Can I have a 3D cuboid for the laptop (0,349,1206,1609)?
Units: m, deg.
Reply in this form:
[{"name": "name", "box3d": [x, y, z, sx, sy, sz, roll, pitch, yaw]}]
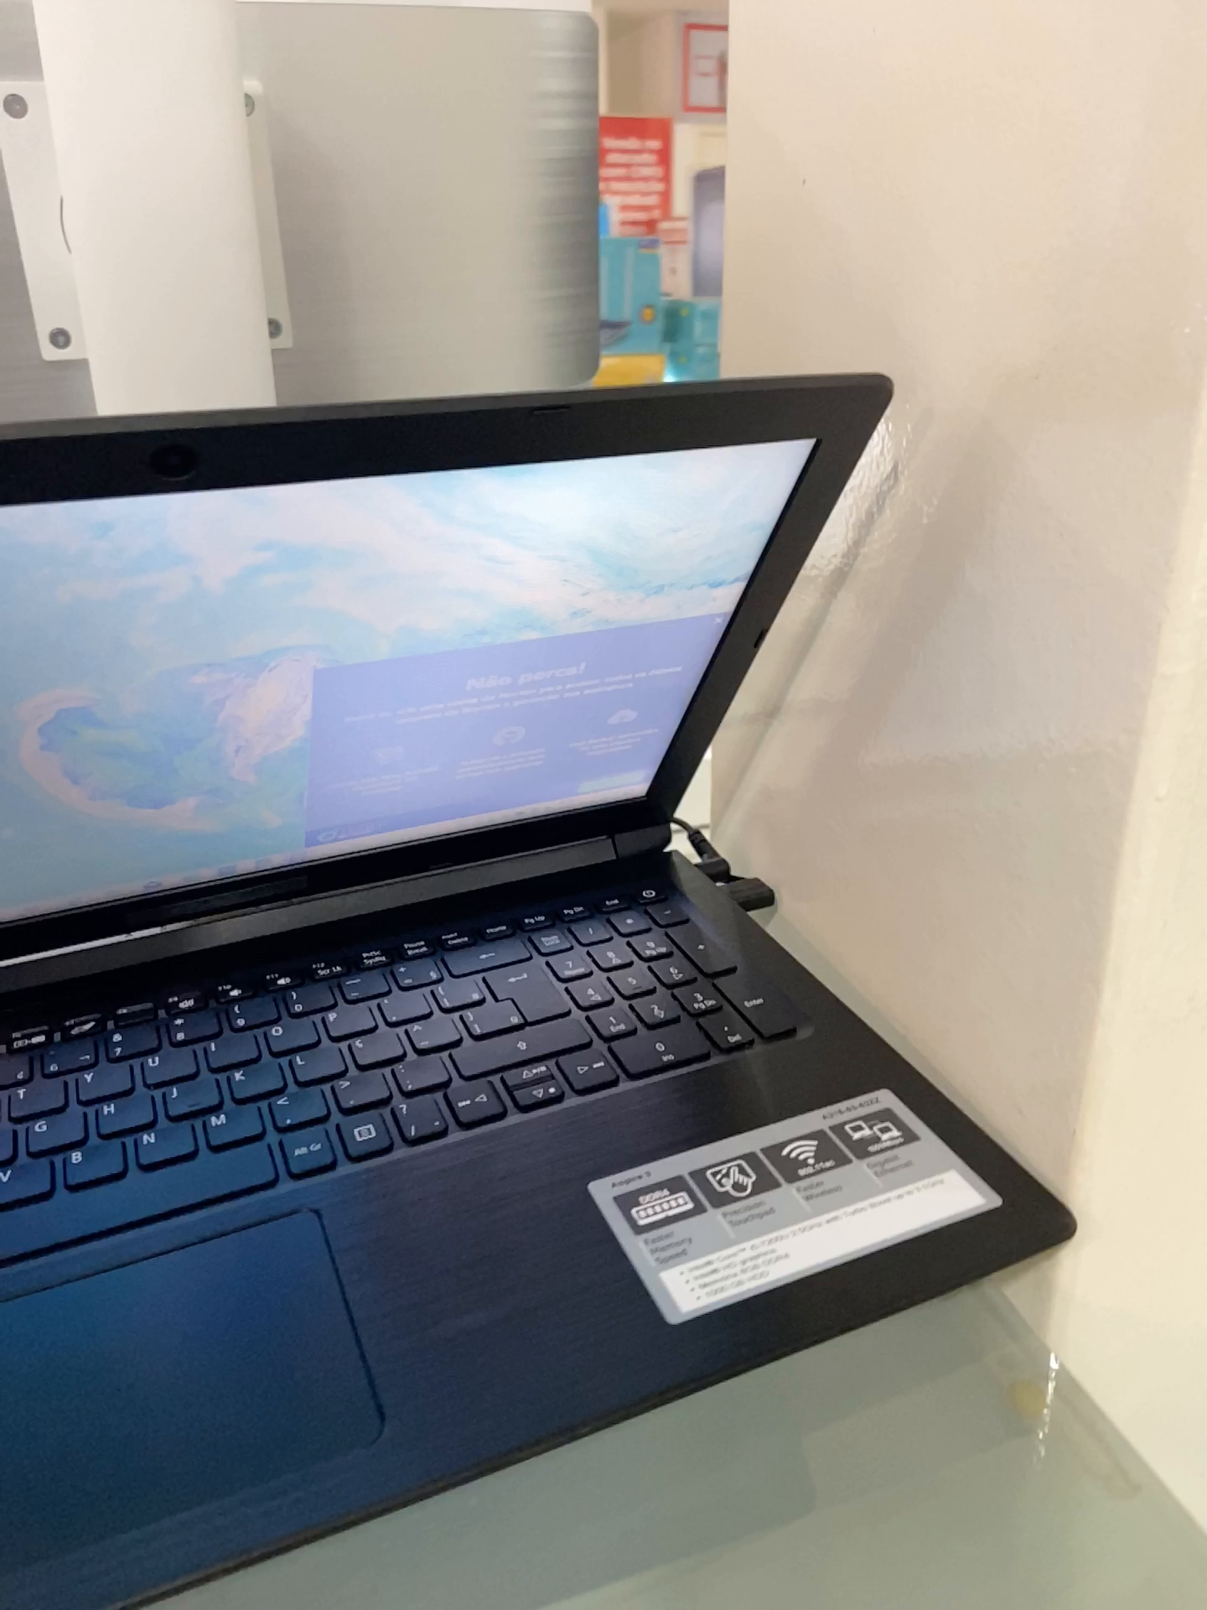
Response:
[{"name": "laptop", "box3d": [-0.096, 0.008, 0.315, 0.367, 0.193, 0.234, -12, 26, -20]}]
